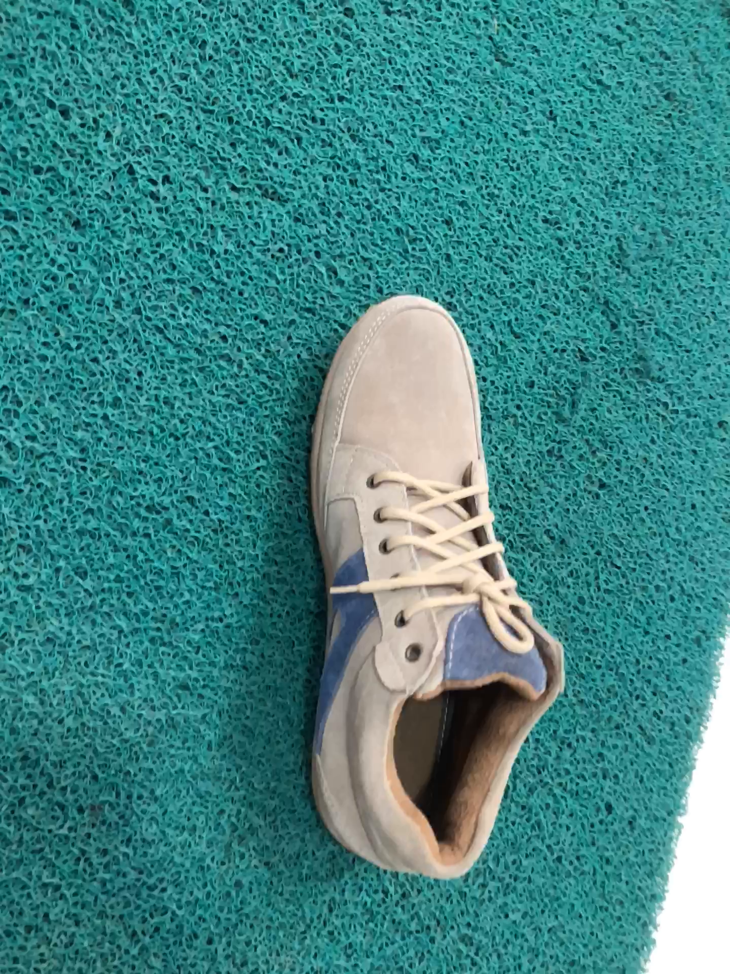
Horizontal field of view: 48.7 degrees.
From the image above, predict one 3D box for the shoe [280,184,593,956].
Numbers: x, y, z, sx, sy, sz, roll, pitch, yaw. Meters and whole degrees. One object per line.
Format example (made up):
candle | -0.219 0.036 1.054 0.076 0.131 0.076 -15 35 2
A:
shoe | 0.033 0.035 0.410 0.100 0.119 0.320 6 83 -23
